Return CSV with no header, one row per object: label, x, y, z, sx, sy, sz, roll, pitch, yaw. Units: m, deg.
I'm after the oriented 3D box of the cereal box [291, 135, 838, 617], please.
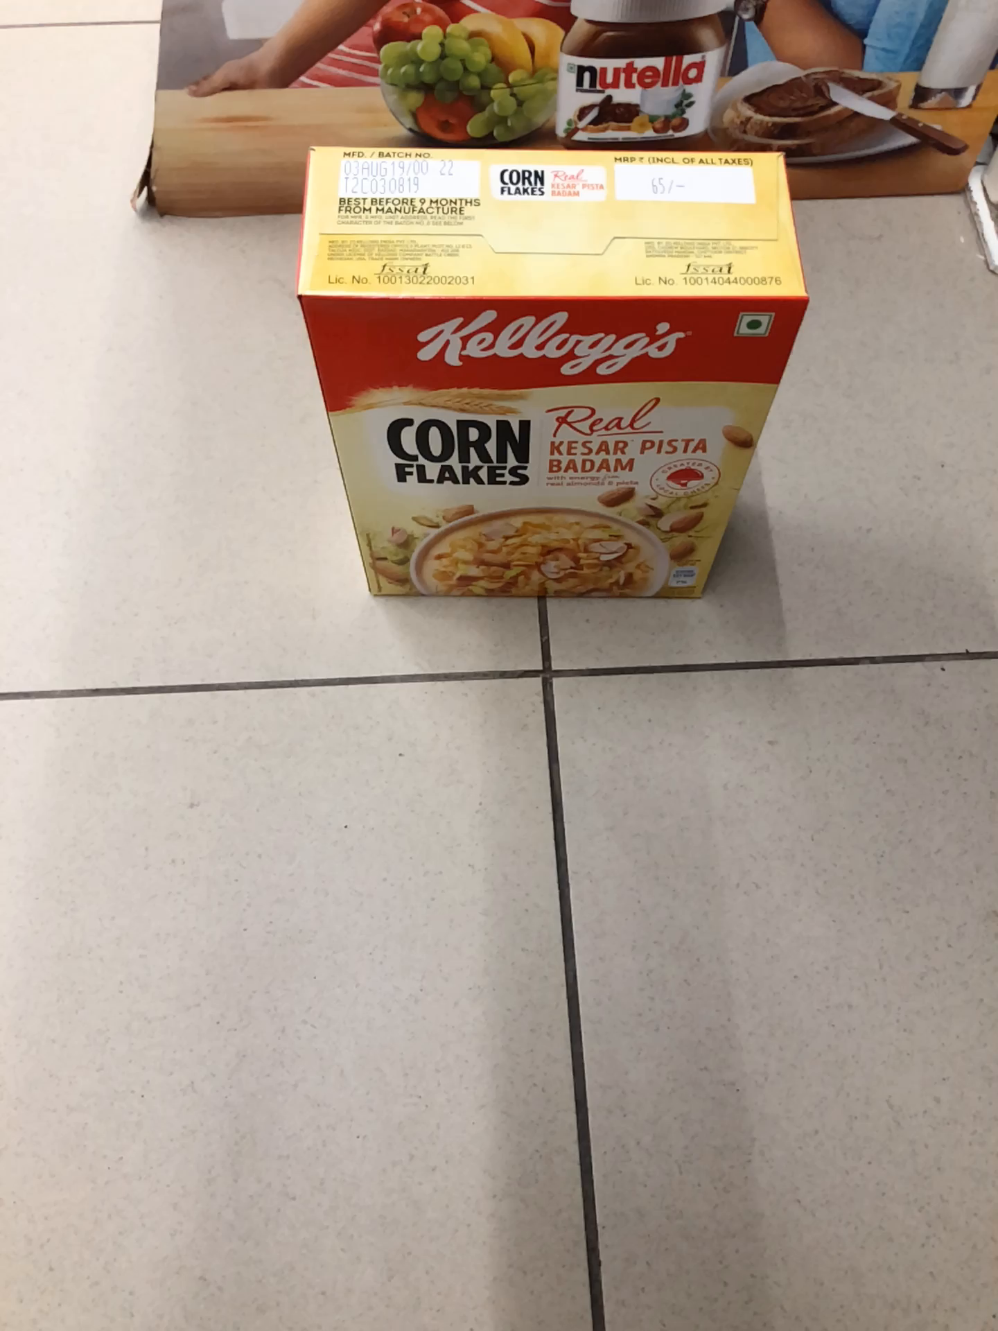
cereal box,0.014,-0.084,0.371,0.140,0.169,0.060,-1,65,-2
